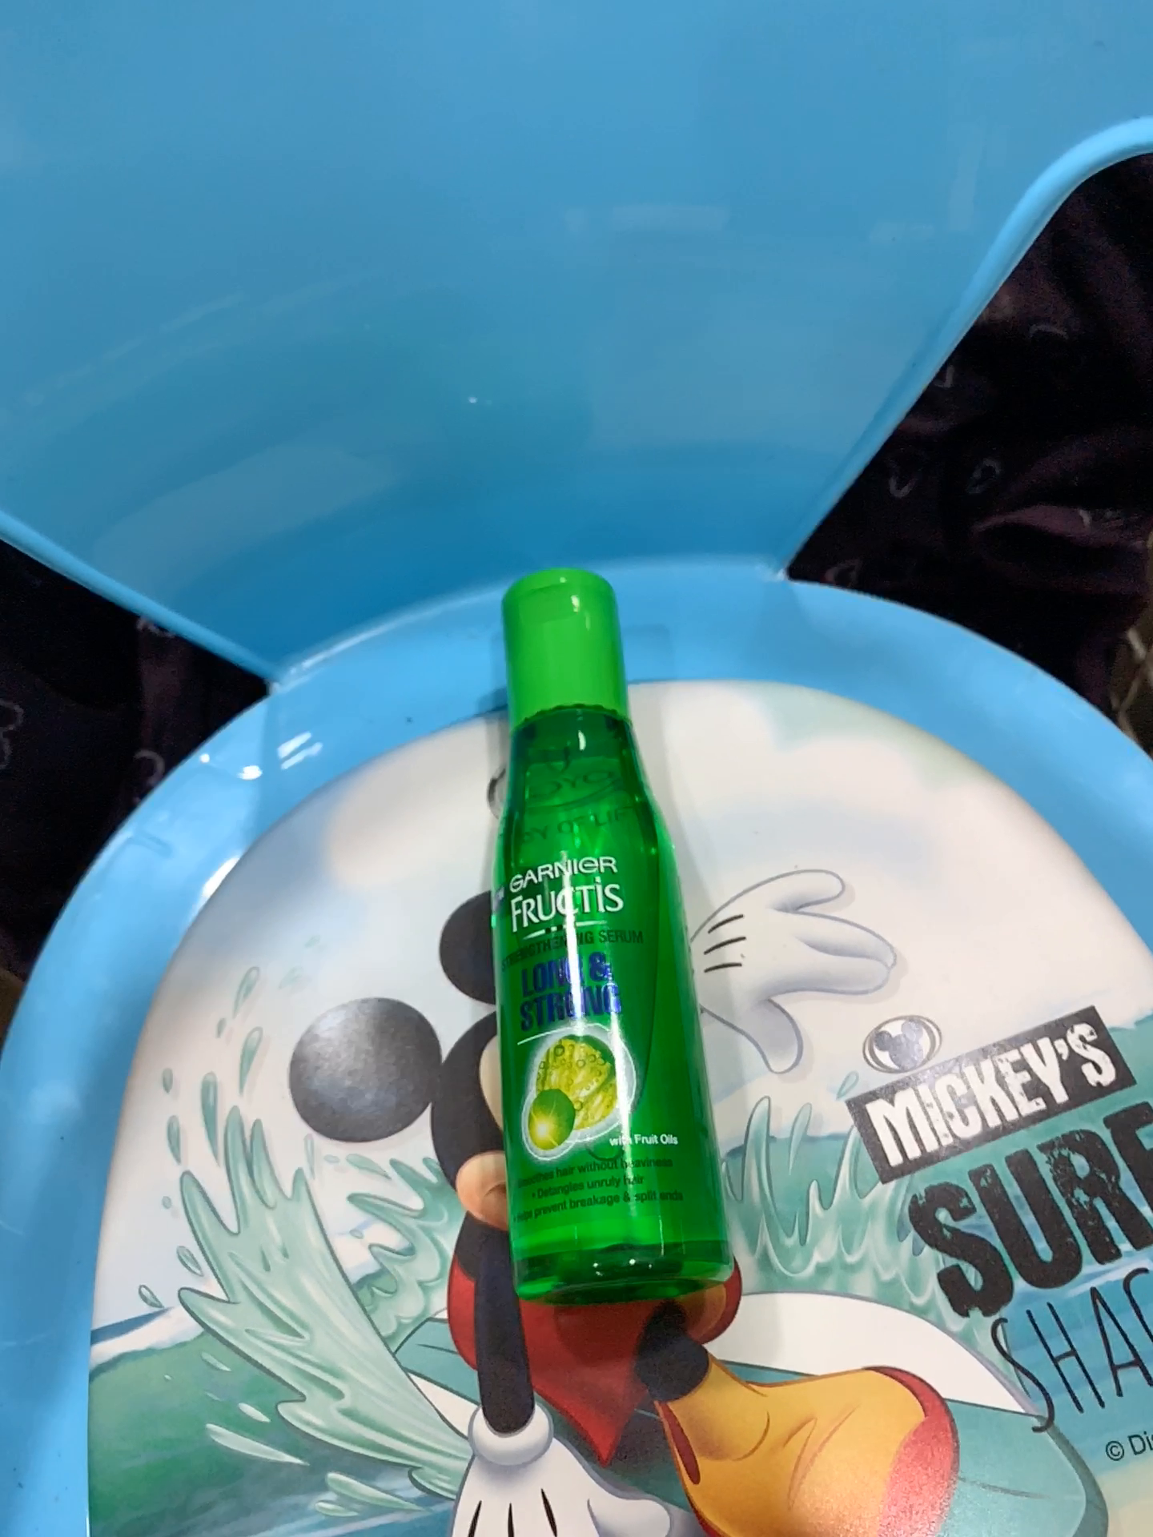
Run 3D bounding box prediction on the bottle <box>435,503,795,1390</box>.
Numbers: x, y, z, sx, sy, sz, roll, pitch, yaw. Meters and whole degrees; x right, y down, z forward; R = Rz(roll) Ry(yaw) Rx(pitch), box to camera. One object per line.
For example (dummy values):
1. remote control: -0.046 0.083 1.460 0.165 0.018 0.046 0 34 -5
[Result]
1. bottle: 0.002 0.027 0.233 0.040 0.040 0.160 -20 56 22
